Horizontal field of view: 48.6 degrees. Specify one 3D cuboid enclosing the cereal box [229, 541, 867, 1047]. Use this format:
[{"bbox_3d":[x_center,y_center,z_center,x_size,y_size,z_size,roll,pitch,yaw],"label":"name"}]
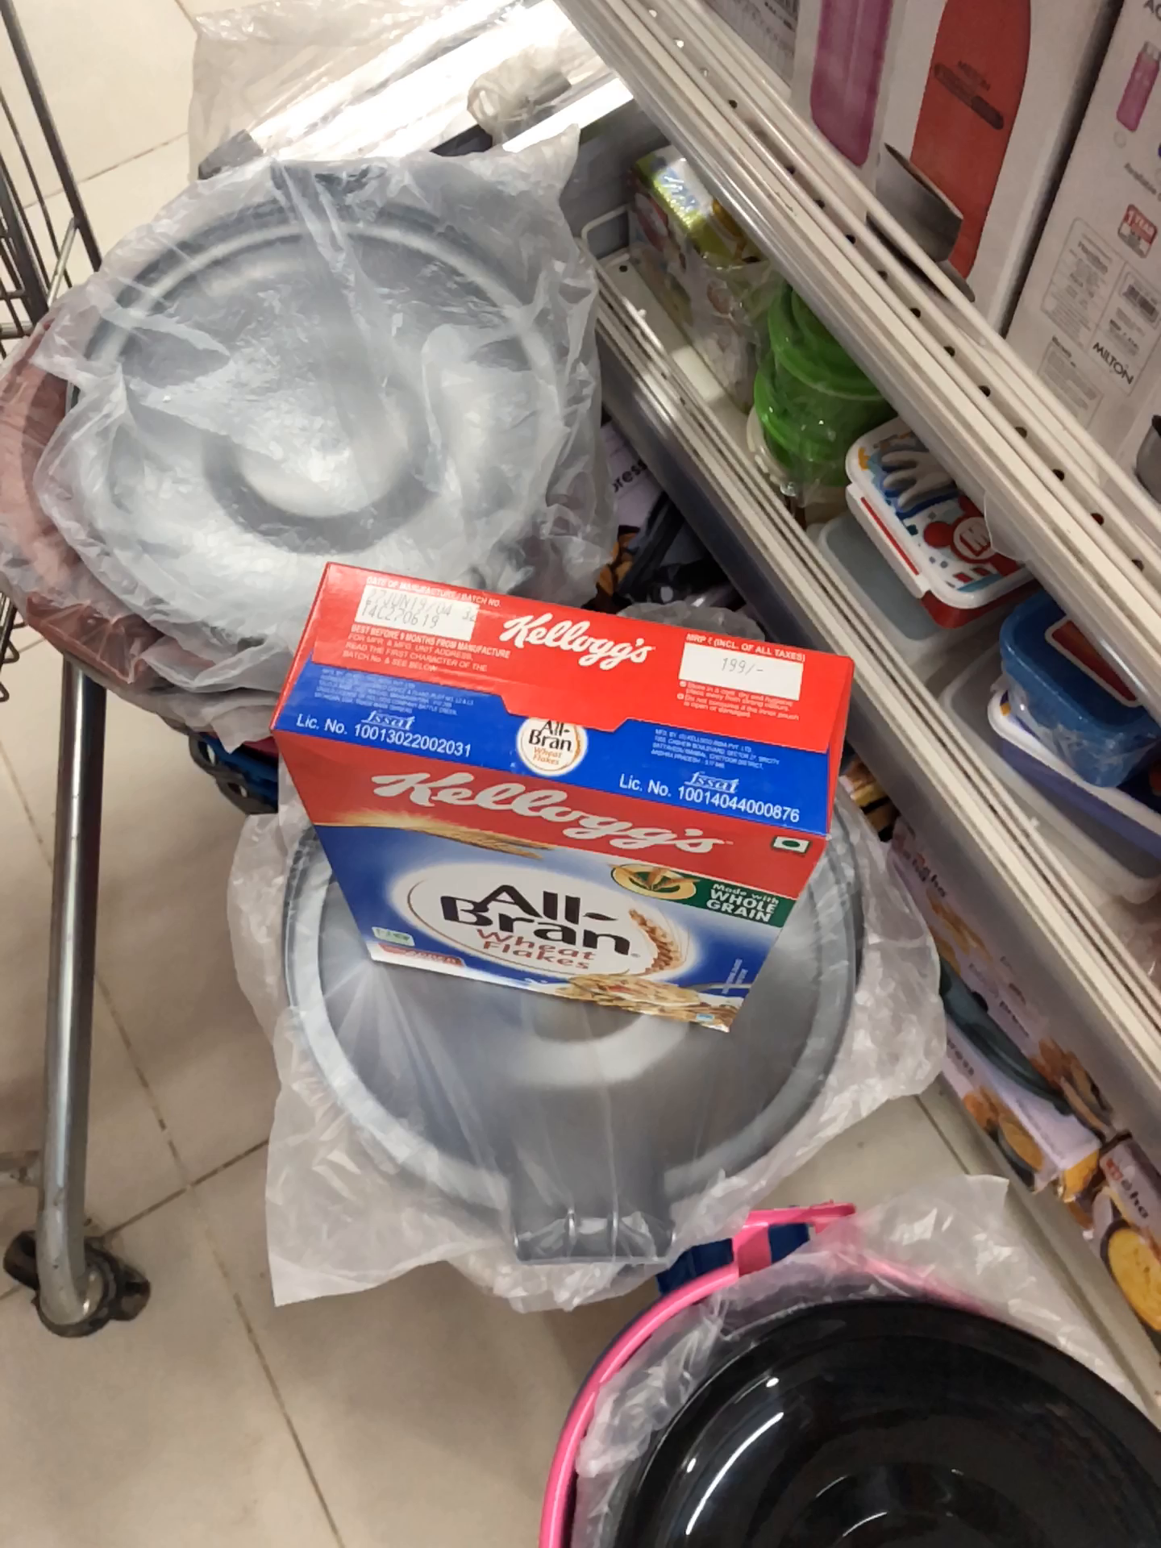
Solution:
[{"bbox_3d":[-0.009,0.028,0.528,0.190,0.270,0.070,11,66,5],"label":"cereal box"}]
